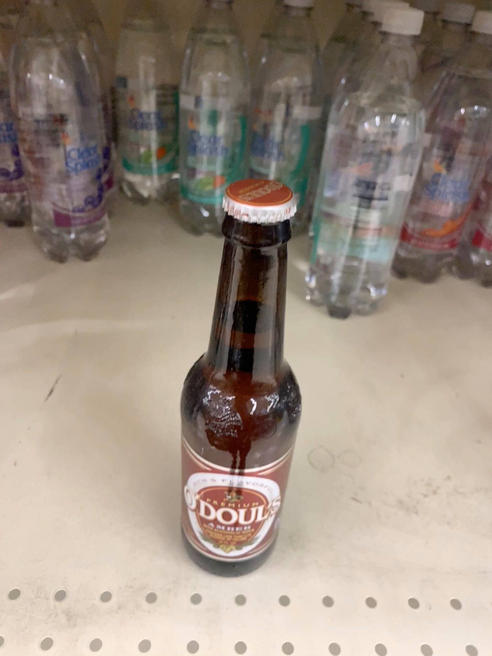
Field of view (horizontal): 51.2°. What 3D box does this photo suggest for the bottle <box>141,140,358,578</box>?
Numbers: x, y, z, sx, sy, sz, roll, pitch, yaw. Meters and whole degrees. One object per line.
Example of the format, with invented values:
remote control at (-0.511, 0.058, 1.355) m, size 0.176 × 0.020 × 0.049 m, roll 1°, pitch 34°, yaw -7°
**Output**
bottle at (-0.002, 0.031, 0.258) m, size 0.070 × 0.219 × 0.070 m, roll 3°, pitch 37°, yaw -2°
